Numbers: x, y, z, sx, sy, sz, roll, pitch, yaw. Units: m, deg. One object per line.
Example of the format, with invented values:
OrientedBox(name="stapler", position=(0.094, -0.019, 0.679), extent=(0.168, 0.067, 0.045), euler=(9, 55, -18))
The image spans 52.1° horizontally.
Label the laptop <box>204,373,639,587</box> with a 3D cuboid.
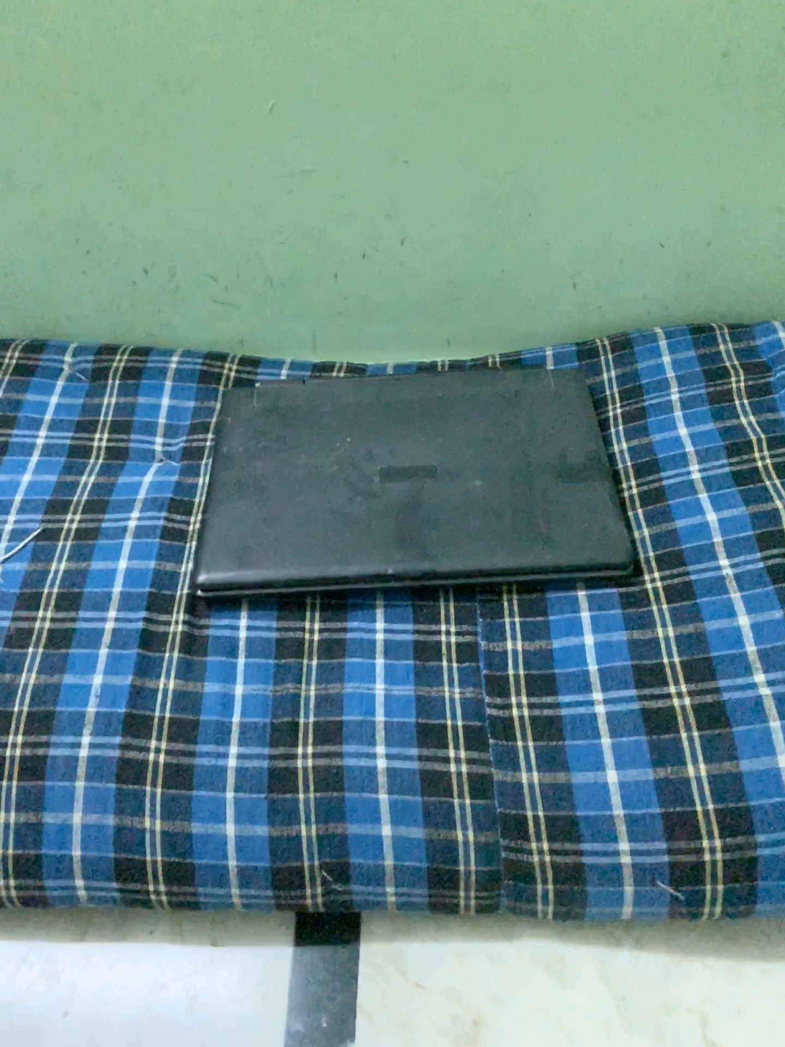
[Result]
OrientedBox(name="laptop", position=(0.017, -0.045, 0.668), extent=(0.323, 0.005, 0.216), euler=(-3, 49, 1))
